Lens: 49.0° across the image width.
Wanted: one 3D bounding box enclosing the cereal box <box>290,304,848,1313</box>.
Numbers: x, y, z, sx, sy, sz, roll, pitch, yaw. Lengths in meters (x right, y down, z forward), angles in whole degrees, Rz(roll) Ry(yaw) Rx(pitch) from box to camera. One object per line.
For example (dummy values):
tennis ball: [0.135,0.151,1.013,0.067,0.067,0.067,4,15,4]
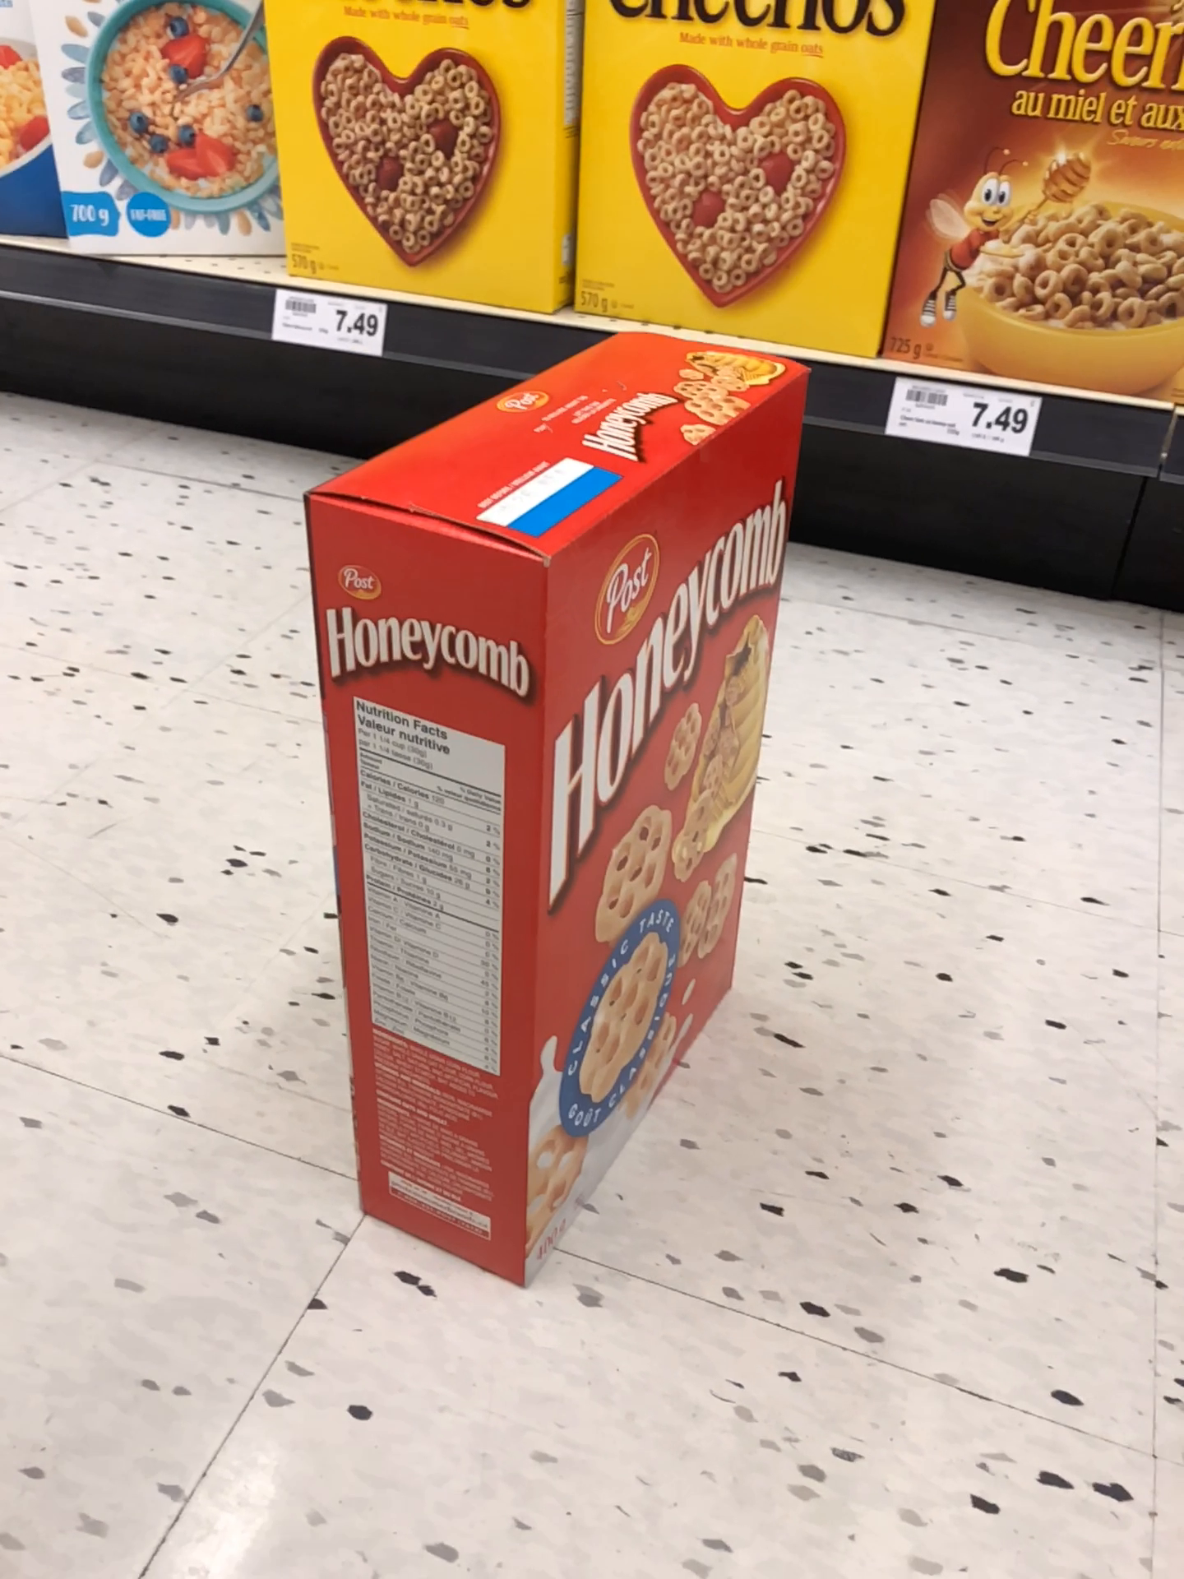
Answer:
cereal box: [-0.001,0.005,0.474,0.080,0.298,0.201,19,37,22]
